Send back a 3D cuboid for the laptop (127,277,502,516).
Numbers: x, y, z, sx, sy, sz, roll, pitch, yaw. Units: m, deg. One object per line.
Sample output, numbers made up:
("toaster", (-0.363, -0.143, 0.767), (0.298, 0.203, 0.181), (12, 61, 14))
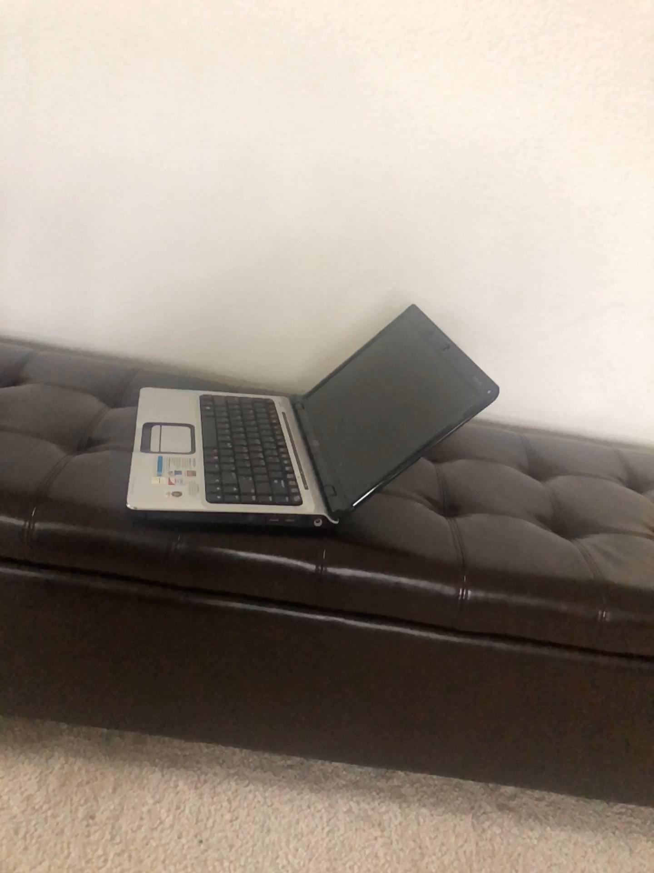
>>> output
("laptop", (-0.040, -0.061, 0.904), (0.381, 0.161, 0.327), (3, 25, -14))
